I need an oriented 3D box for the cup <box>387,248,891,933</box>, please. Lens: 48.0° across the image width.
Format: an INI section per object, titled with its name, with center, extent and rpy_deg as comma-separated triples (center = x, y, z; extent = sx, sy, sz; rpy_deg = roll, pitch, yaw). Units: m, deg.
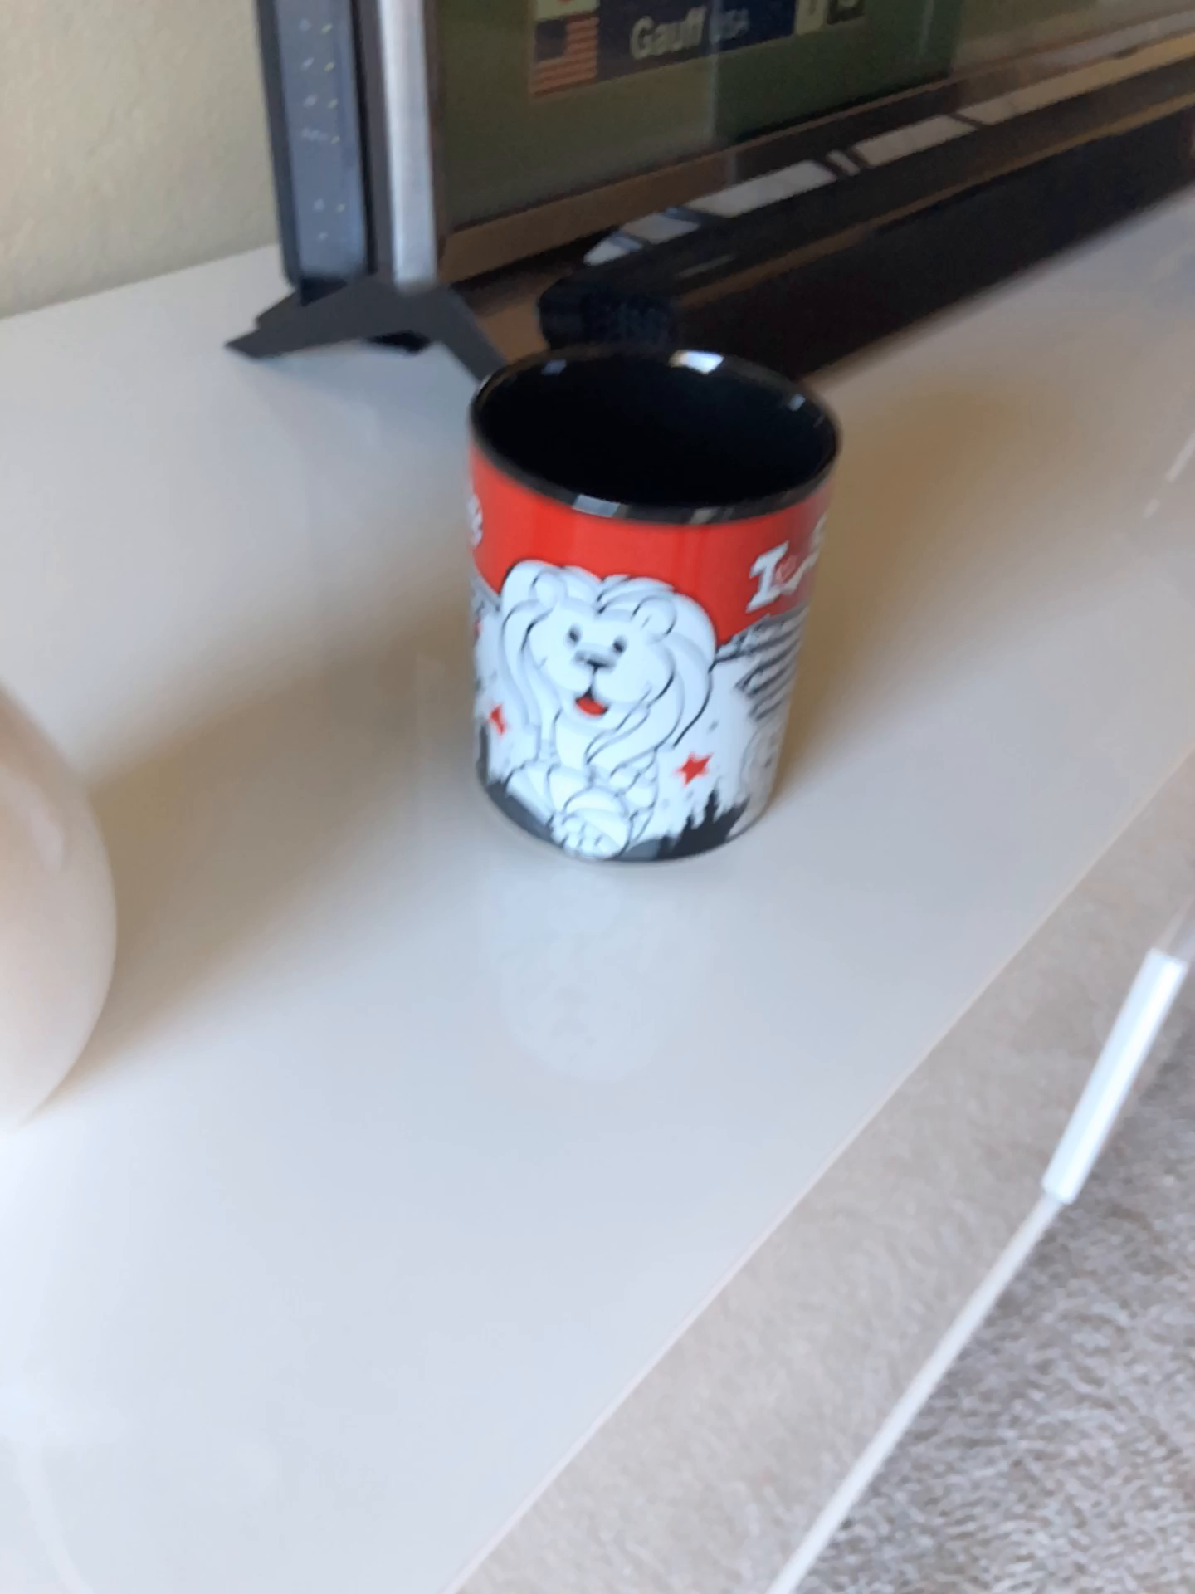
[cup]
center = 0.013, -0.056, 0.334
extent = 0.080, 0.110, 0.120
rpy_deg = 14, 42, 13
